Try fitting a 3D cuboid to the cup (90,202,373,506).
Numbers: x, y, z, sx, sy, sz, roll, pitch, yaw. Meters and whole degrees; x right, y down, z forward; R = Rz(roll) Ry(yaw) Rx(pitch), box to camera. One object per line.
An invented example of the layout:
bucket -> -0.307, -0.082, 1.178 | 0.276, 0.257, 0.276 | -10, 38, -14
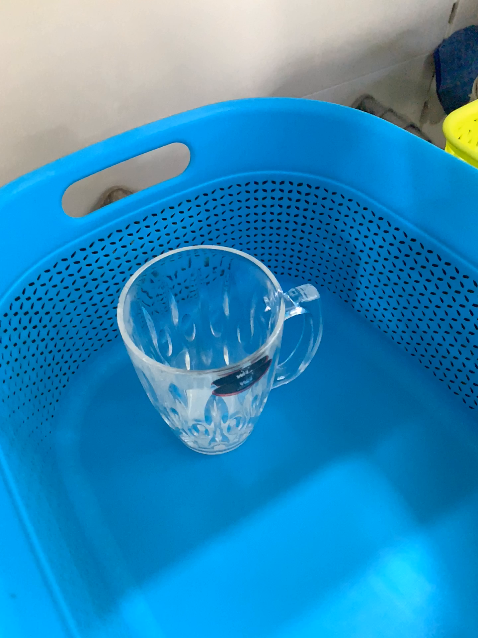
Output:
cup -> -0.003, 0.022, 0.279 | 0.110, 0.117, 0.078 | -31, 58, -21
